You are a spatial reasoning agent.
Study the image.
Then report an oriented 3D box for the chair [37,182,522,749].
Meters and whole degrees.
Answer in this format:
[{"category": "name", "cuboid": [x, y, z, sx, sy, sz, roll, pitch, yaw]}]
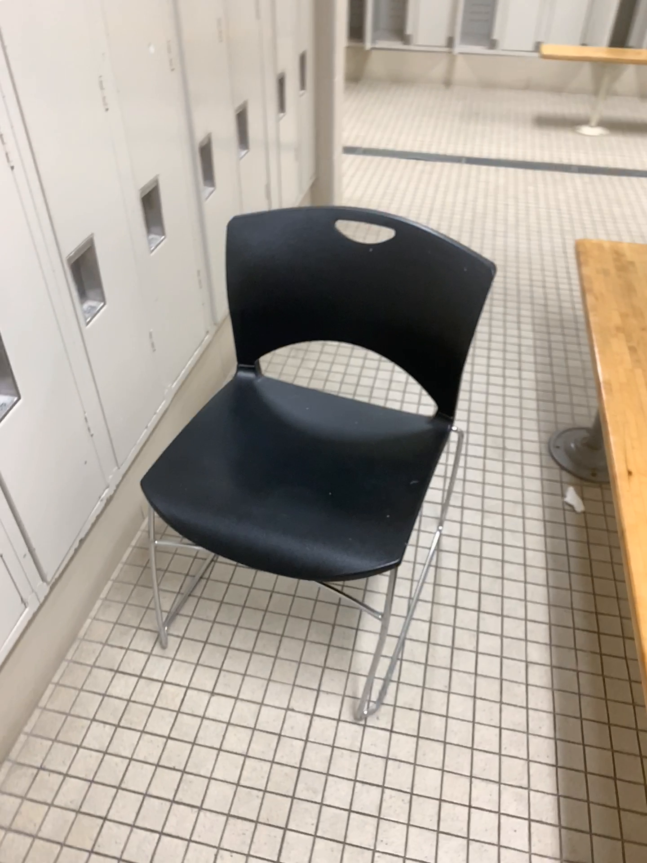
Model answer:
[{"category": "chair", "cuboid": [-0.009, 0.021, 1.137, 0.475, 0.631, 0.615, 14, 42, 16]}]
